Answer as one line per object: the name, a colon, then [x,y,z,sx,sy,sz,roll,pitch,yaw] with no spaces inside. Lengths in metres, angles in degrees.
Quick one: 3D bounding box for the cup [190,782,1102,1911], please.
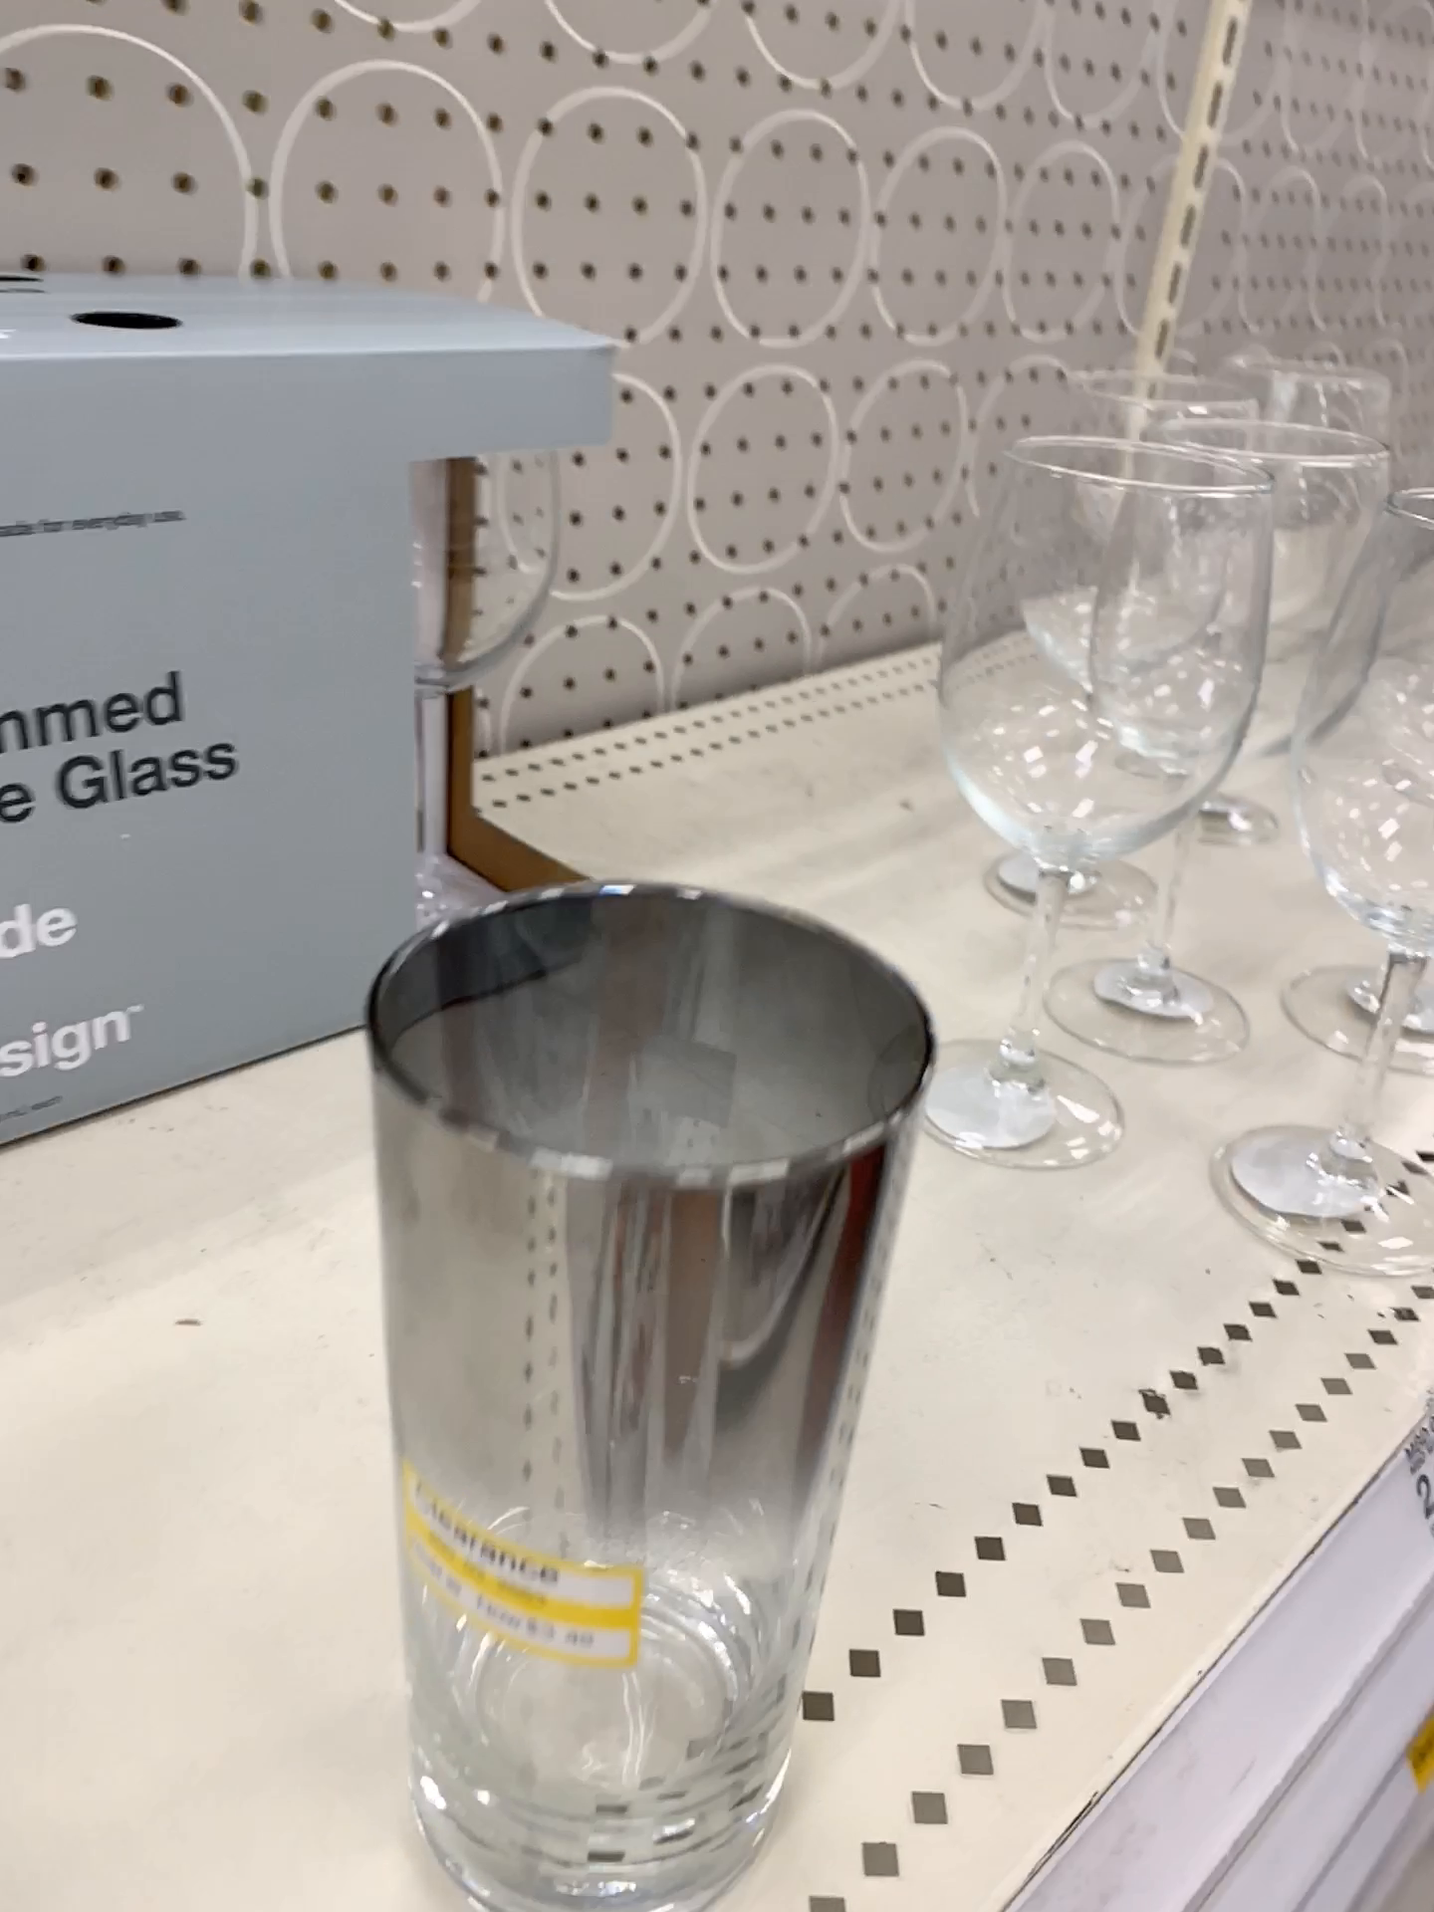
cup: [-0.009,0.067,0.208,0.080,0.149,0.080,5,29,-3]
